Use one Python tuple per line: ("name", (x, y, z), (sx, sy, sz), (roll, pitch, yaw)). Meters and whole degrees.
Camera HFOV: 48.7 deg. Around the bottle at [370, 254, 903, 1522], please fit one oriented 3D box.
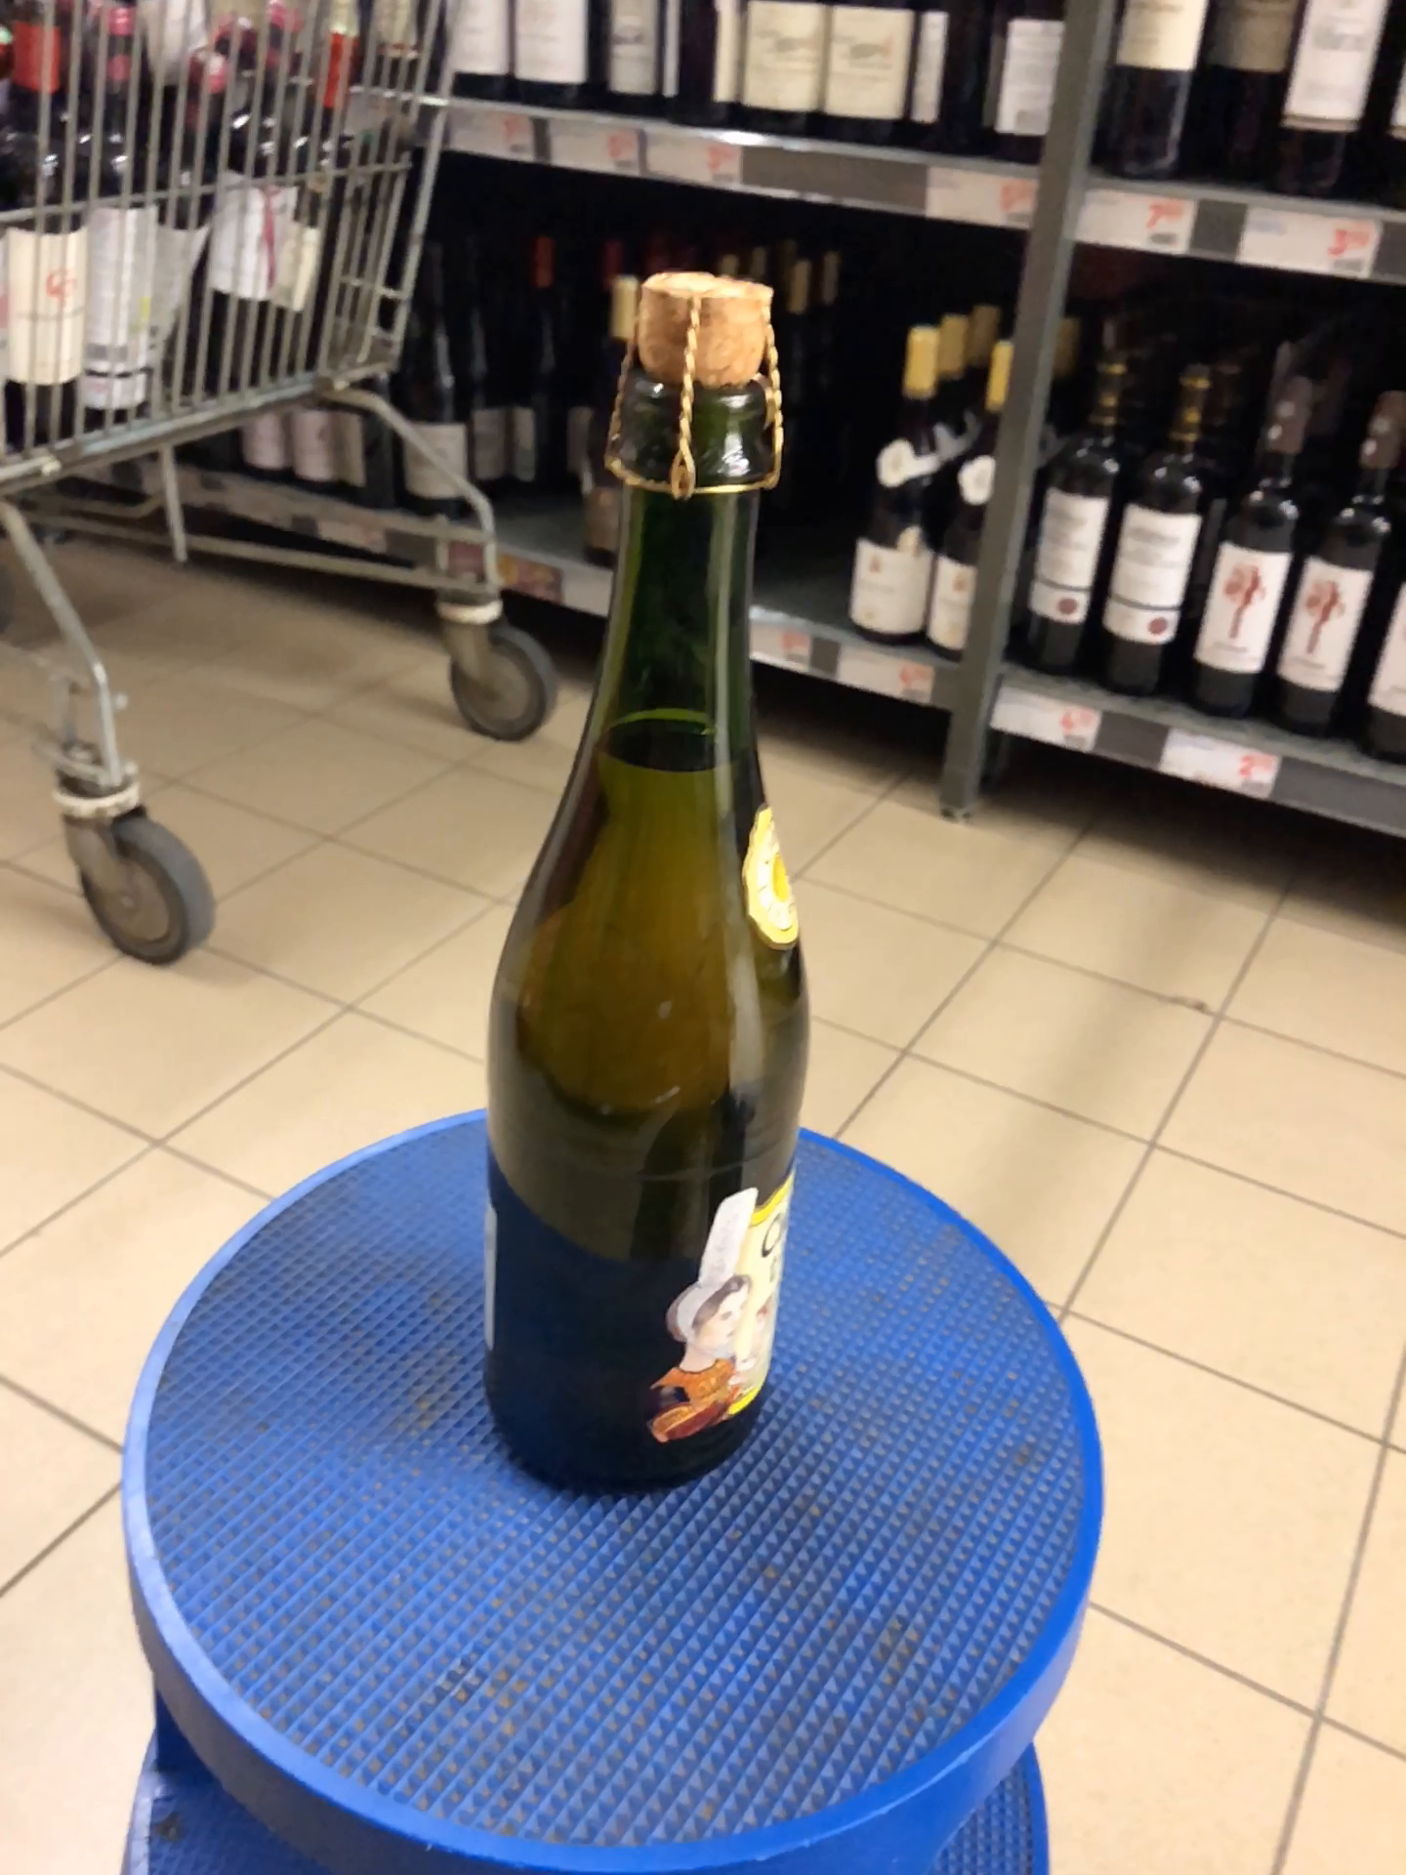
("bottle", (-0.022, 0.004, 0.377), (0.090, 0.298, 0.091), (3, 31, -2))
